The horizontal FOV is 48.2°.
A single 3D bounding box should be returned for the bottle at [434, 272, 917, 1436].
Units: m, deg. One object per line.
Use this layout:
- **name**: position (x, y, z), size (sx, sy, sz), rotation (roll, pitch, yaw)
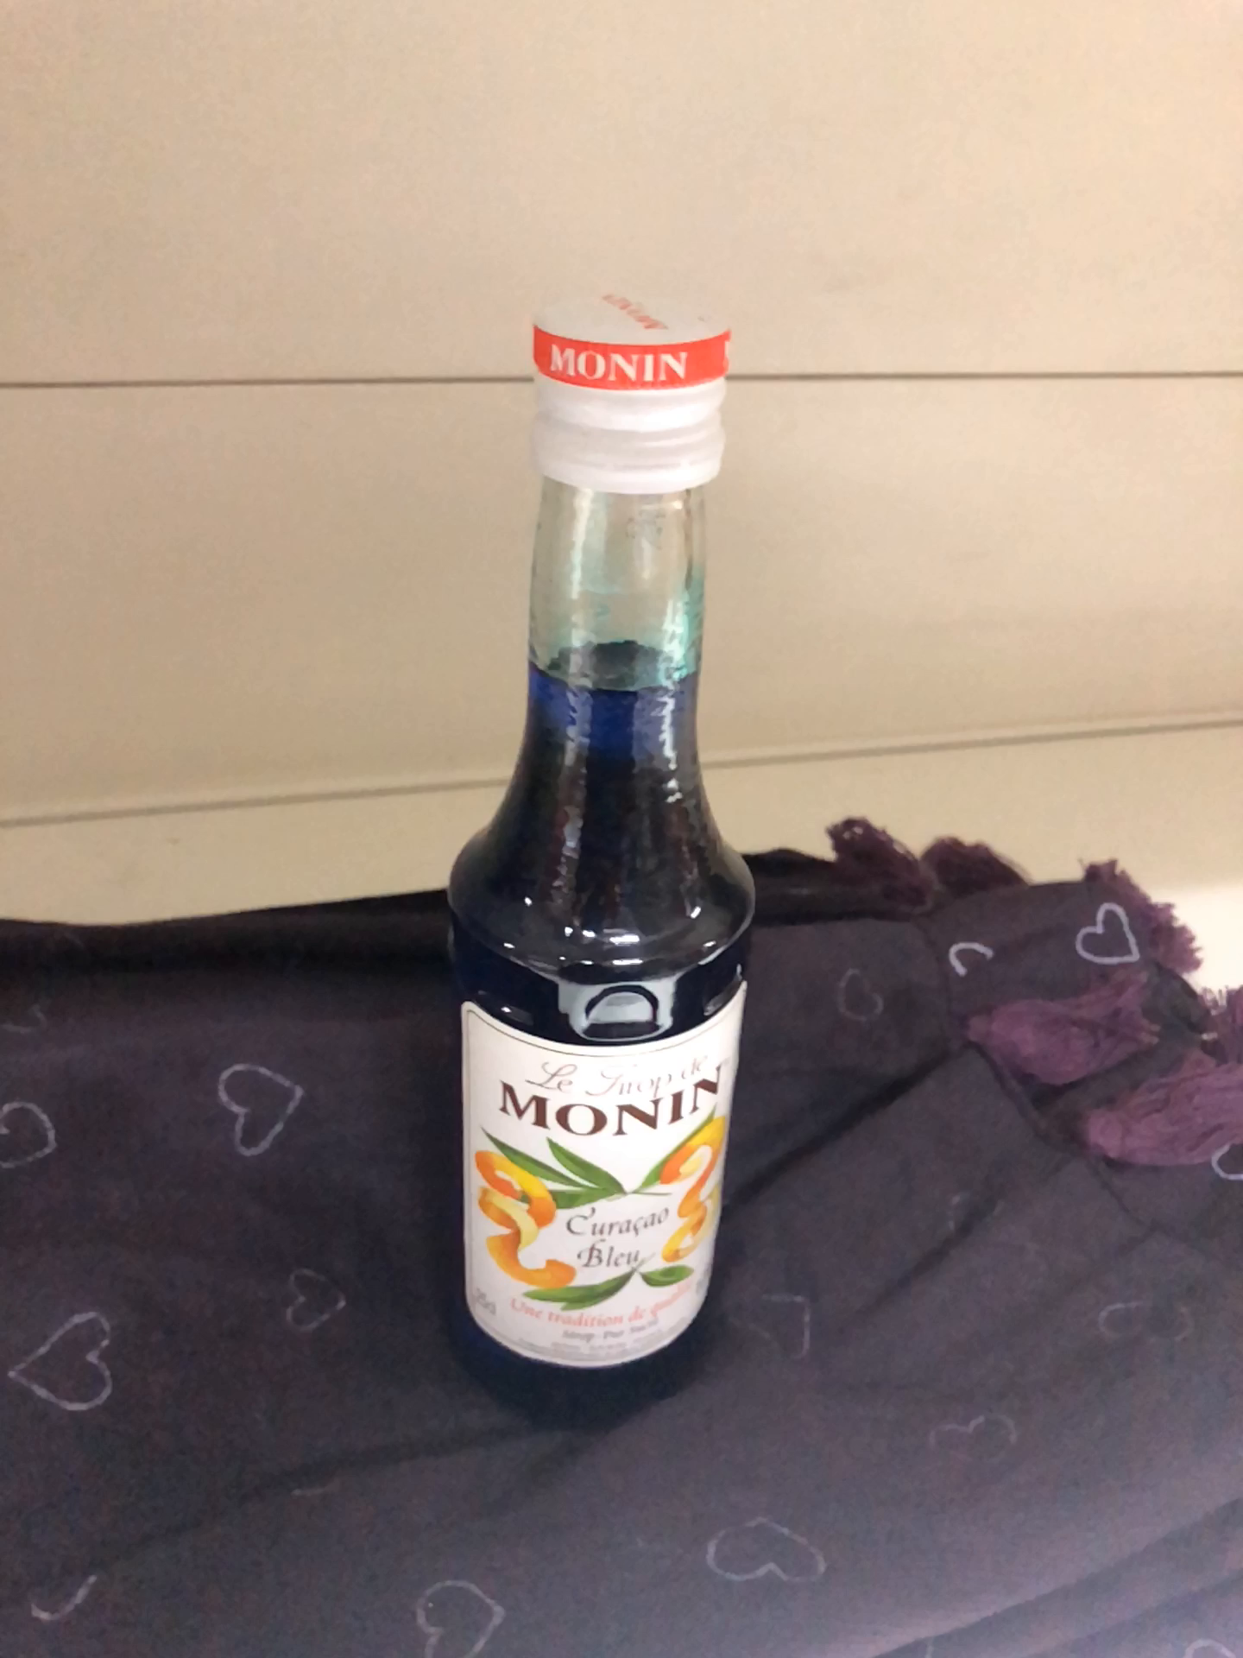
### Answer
- **bottle**: position (0.001, 0.014, 0.253), size (0.060, 0.209, 0.050), rotation (-4, 29, -13)
